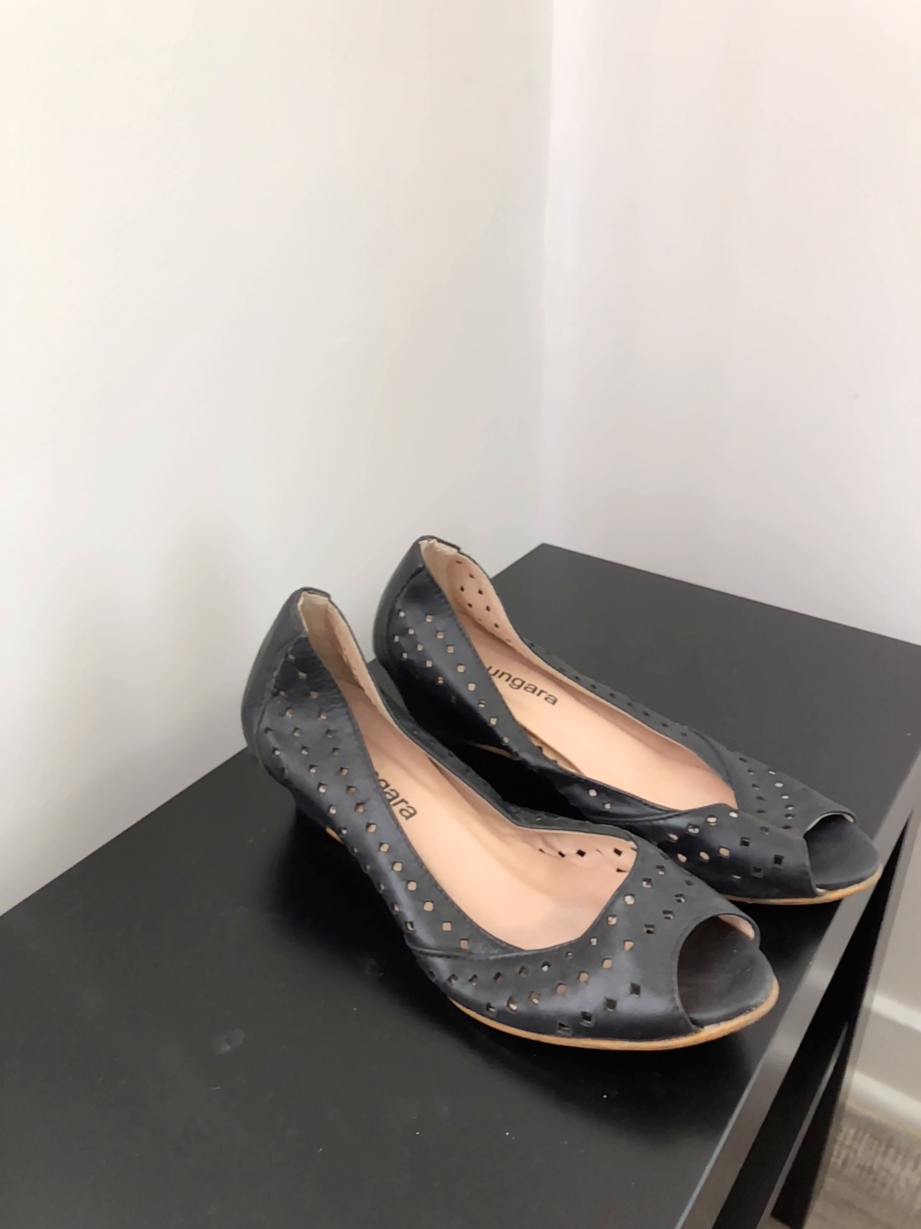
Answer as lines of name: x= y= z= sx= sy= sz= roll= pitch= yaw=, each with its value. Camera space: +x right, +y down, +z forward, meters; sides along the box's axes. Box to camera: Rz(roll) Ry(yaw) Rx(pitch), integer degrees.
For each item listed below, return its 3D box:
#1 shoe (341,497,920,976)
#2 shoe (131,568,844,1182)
shoe: x=0.066 y=0.035 z=0.416 sx=0.221 sy=0.100 sz=0.085 roll=18 pitch=33 yaw=30
shoe: x=-0.001 y=0.073 z=0.364 sx=0.231 sy=0.100 sz=0.085 roll=19 pitch=34 yaw=31
